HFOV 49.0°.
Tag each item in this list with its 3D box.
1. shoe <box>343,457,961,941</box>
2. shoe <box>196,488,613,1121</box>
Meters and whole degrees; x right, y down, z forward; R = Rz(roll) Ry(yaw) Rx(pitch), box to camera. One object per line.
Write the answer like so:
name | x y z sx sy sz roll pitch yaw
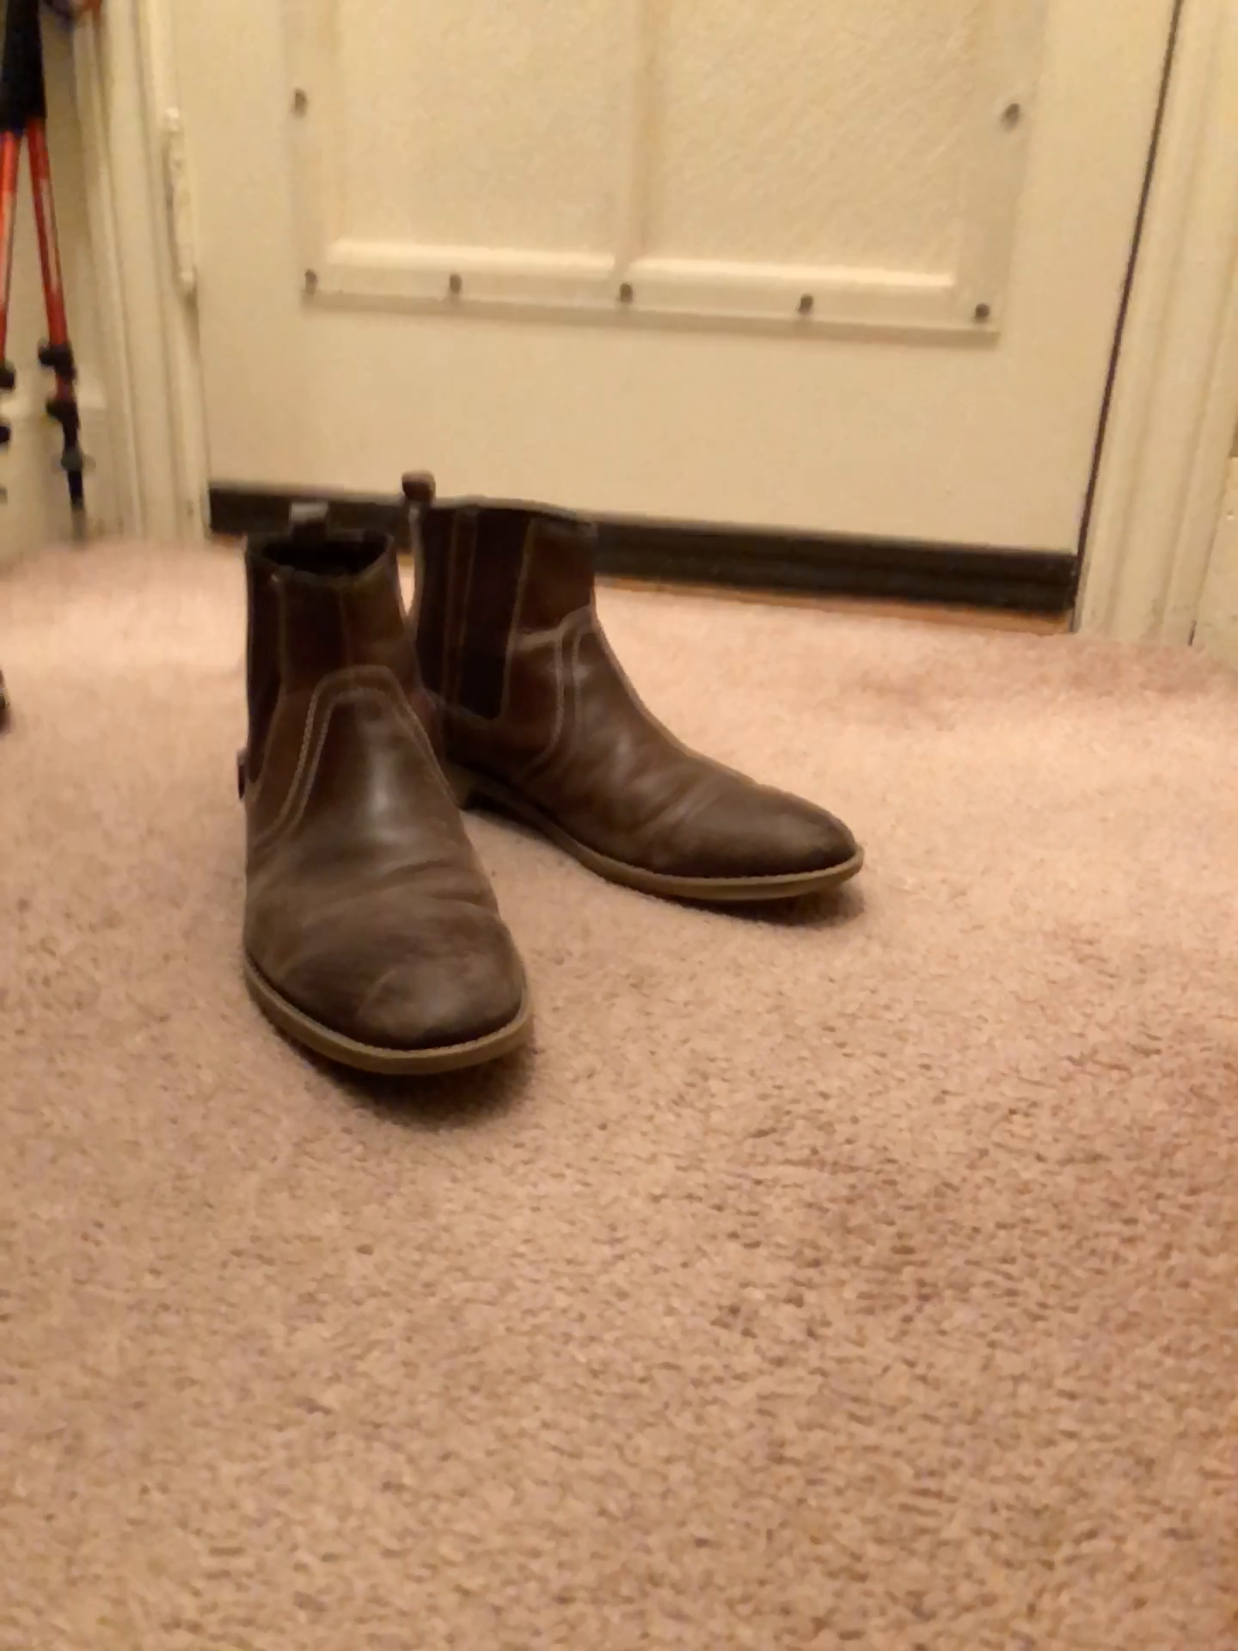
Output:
shoe | 0.002 -0.083 0.696 0.298 0.158 0.119 22 30 37
shoe | -0.107 -0.036 0.579 0.119 0.158 0.299 -5 25 -17
